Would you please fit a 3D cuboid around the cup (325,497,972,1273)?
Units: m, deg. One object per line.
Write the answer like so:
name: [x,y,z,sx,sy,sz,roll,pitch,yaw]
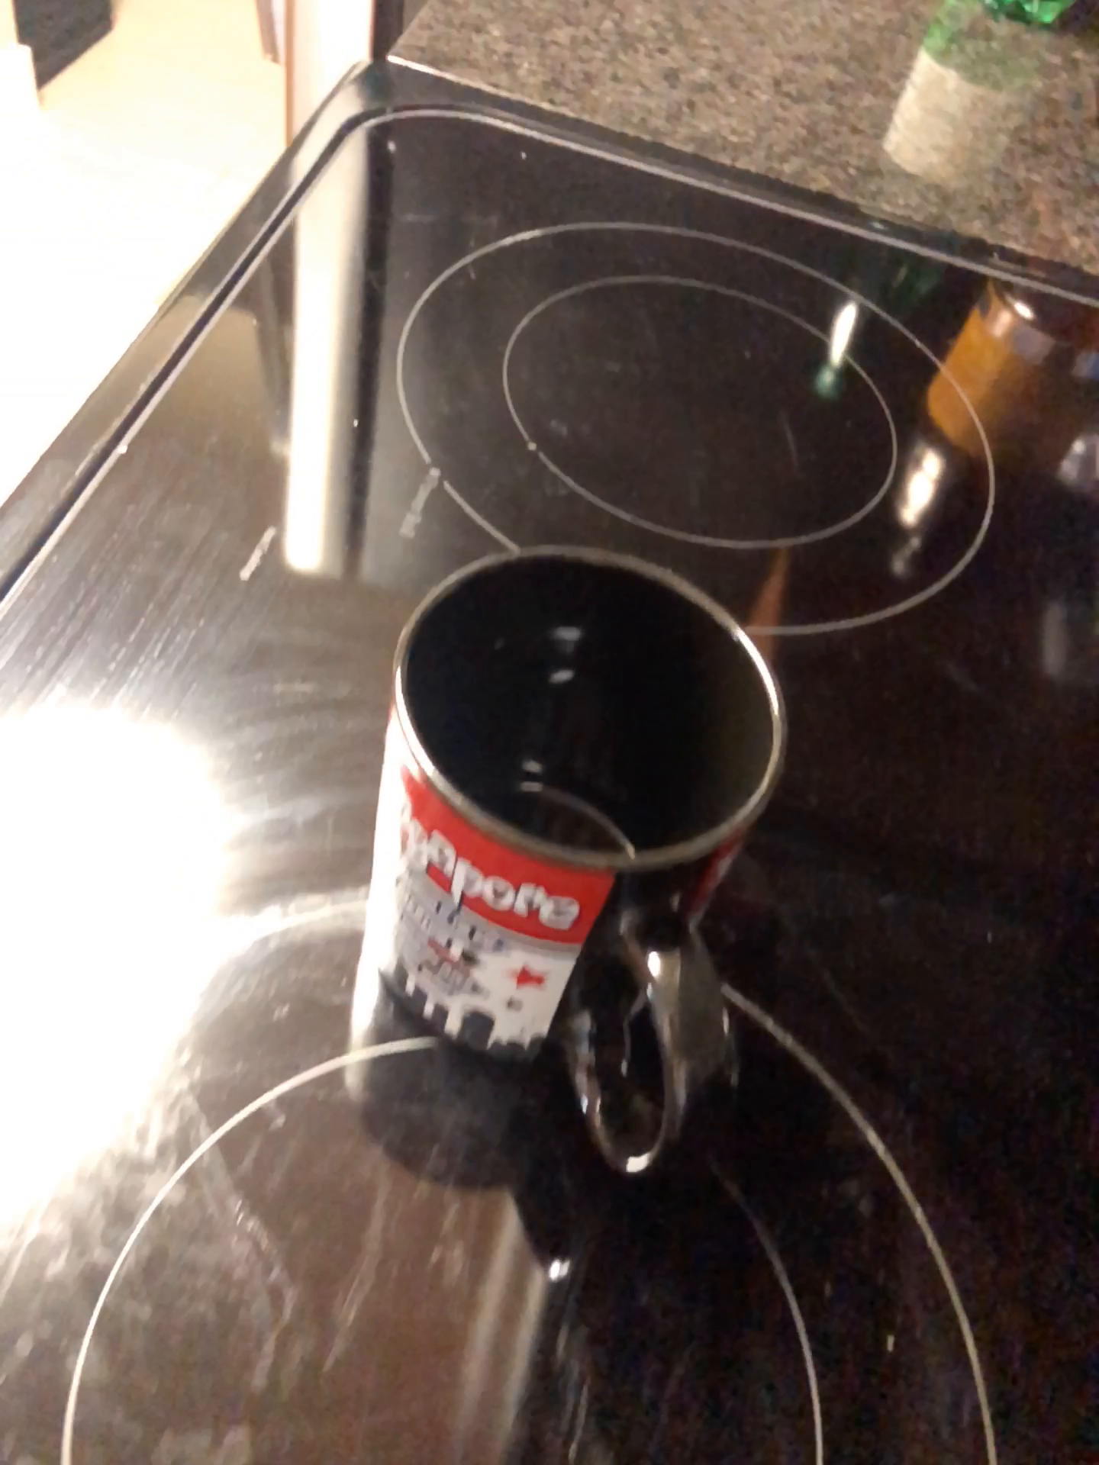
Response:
cup: [0.005,0.028,0.263,0.090,0.090,0.130,-3,54,-15]
